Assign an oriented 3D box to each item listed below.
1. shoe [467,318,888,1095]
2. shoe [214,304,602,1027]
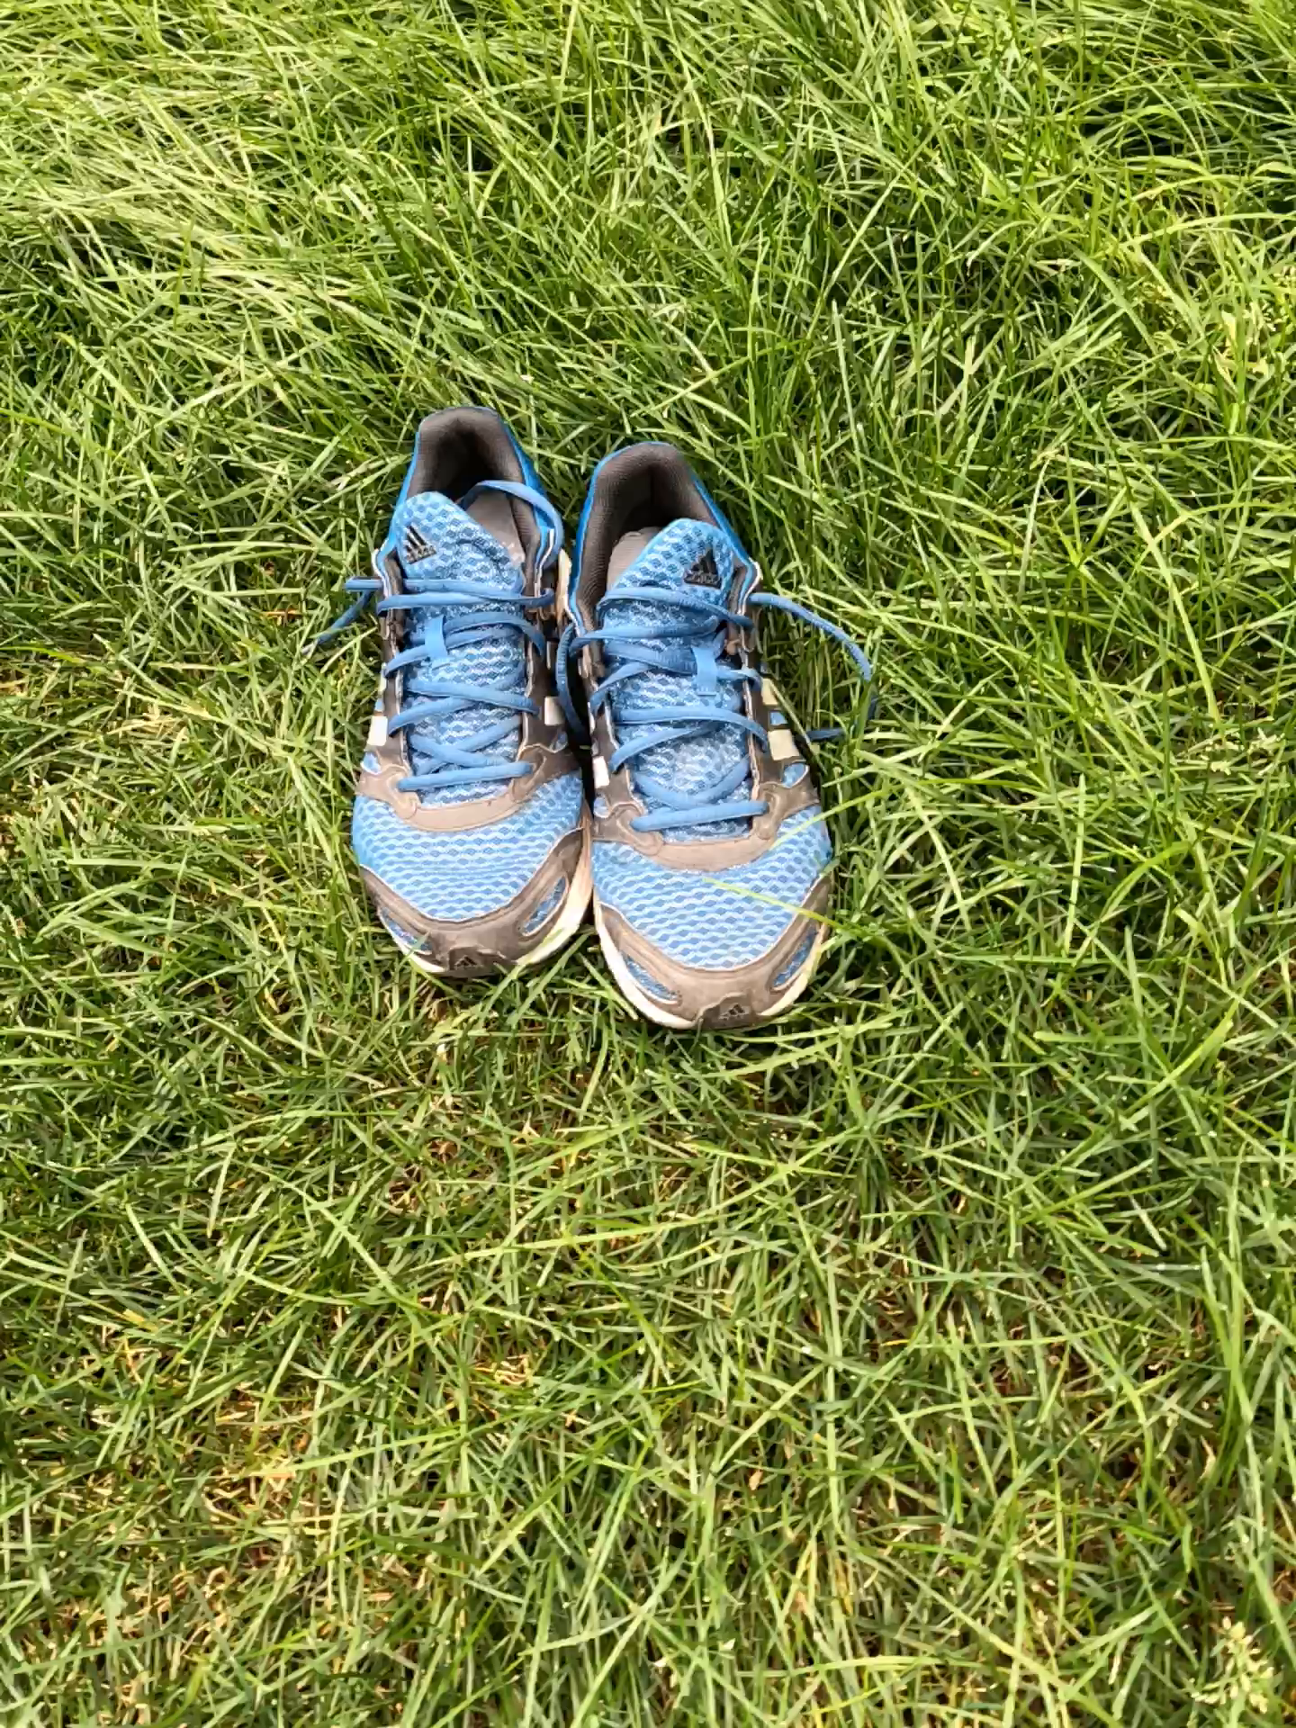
[{"bbox_3d":[0.012,-0.063,0.595,0.120,0.120,0.280,-11,68,6],"label":"shoe"},{"bbox_3d":[-0.096,-0.081,0.614,0.120,0.120,0.270,-7,69,8],"label":"shoe"}]
